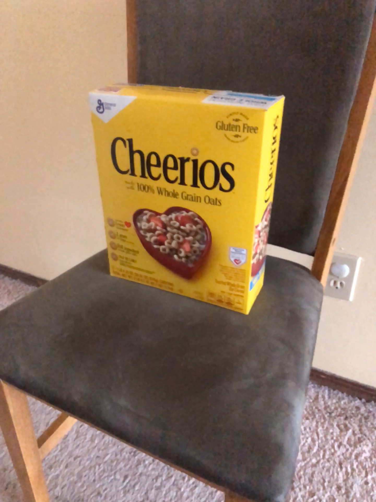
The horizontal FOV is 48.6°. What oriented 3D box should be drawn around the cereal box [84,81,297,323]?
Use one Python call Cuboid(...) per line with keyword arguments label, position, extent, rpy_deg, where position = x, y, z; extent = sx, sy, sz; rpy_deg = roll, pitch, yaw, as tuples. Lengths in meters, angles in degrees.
Cuboid(label="cereal box", position=(0.001, -0.074, 0.610), extent=(0.260, 0.299, 0.090), rpy_deg=(14, 35, 23))
